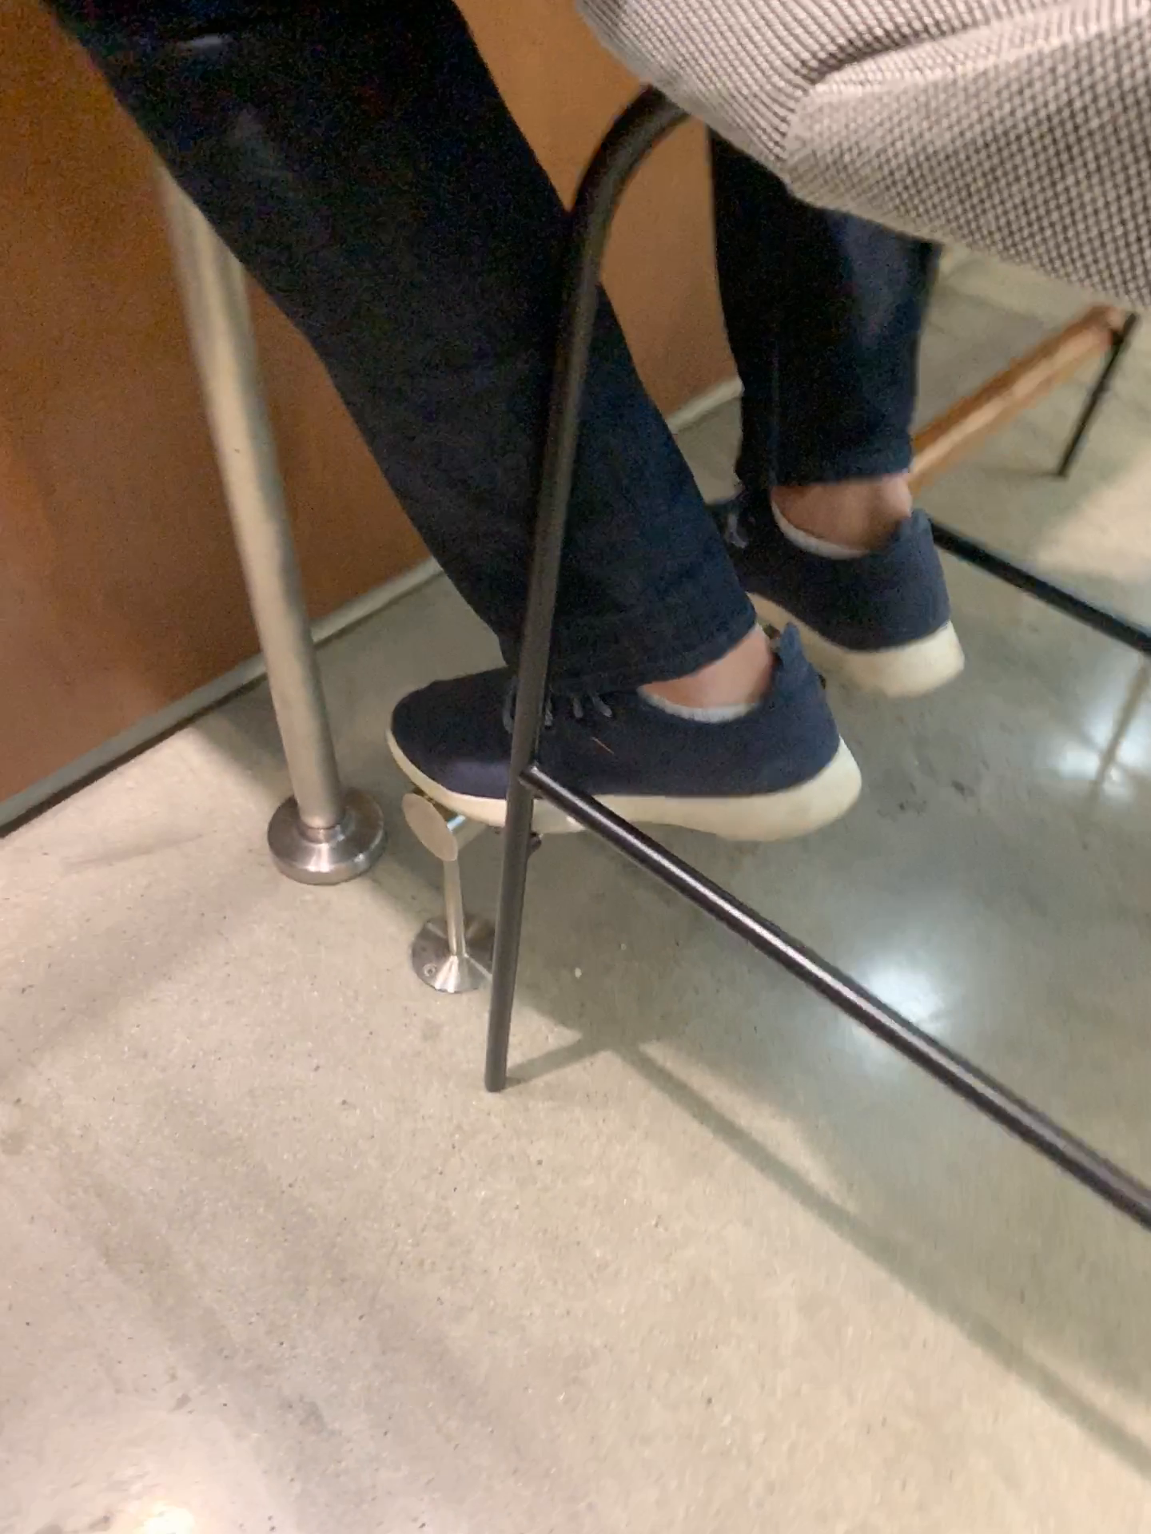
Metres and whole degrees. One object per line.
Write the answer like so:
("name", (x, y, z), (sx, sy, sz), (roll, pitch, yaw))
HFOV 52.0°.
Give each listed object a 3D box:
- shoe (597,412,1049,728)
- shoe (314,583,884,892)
("shoe", (0.153, -0.152, 0.818), (0.129, 0.093, 0.301), (-21, 38, -26))
("shoe", (0.017, -0.027, 0.690), (0.299, 0.093, 0.124), (7, 41, 23))
